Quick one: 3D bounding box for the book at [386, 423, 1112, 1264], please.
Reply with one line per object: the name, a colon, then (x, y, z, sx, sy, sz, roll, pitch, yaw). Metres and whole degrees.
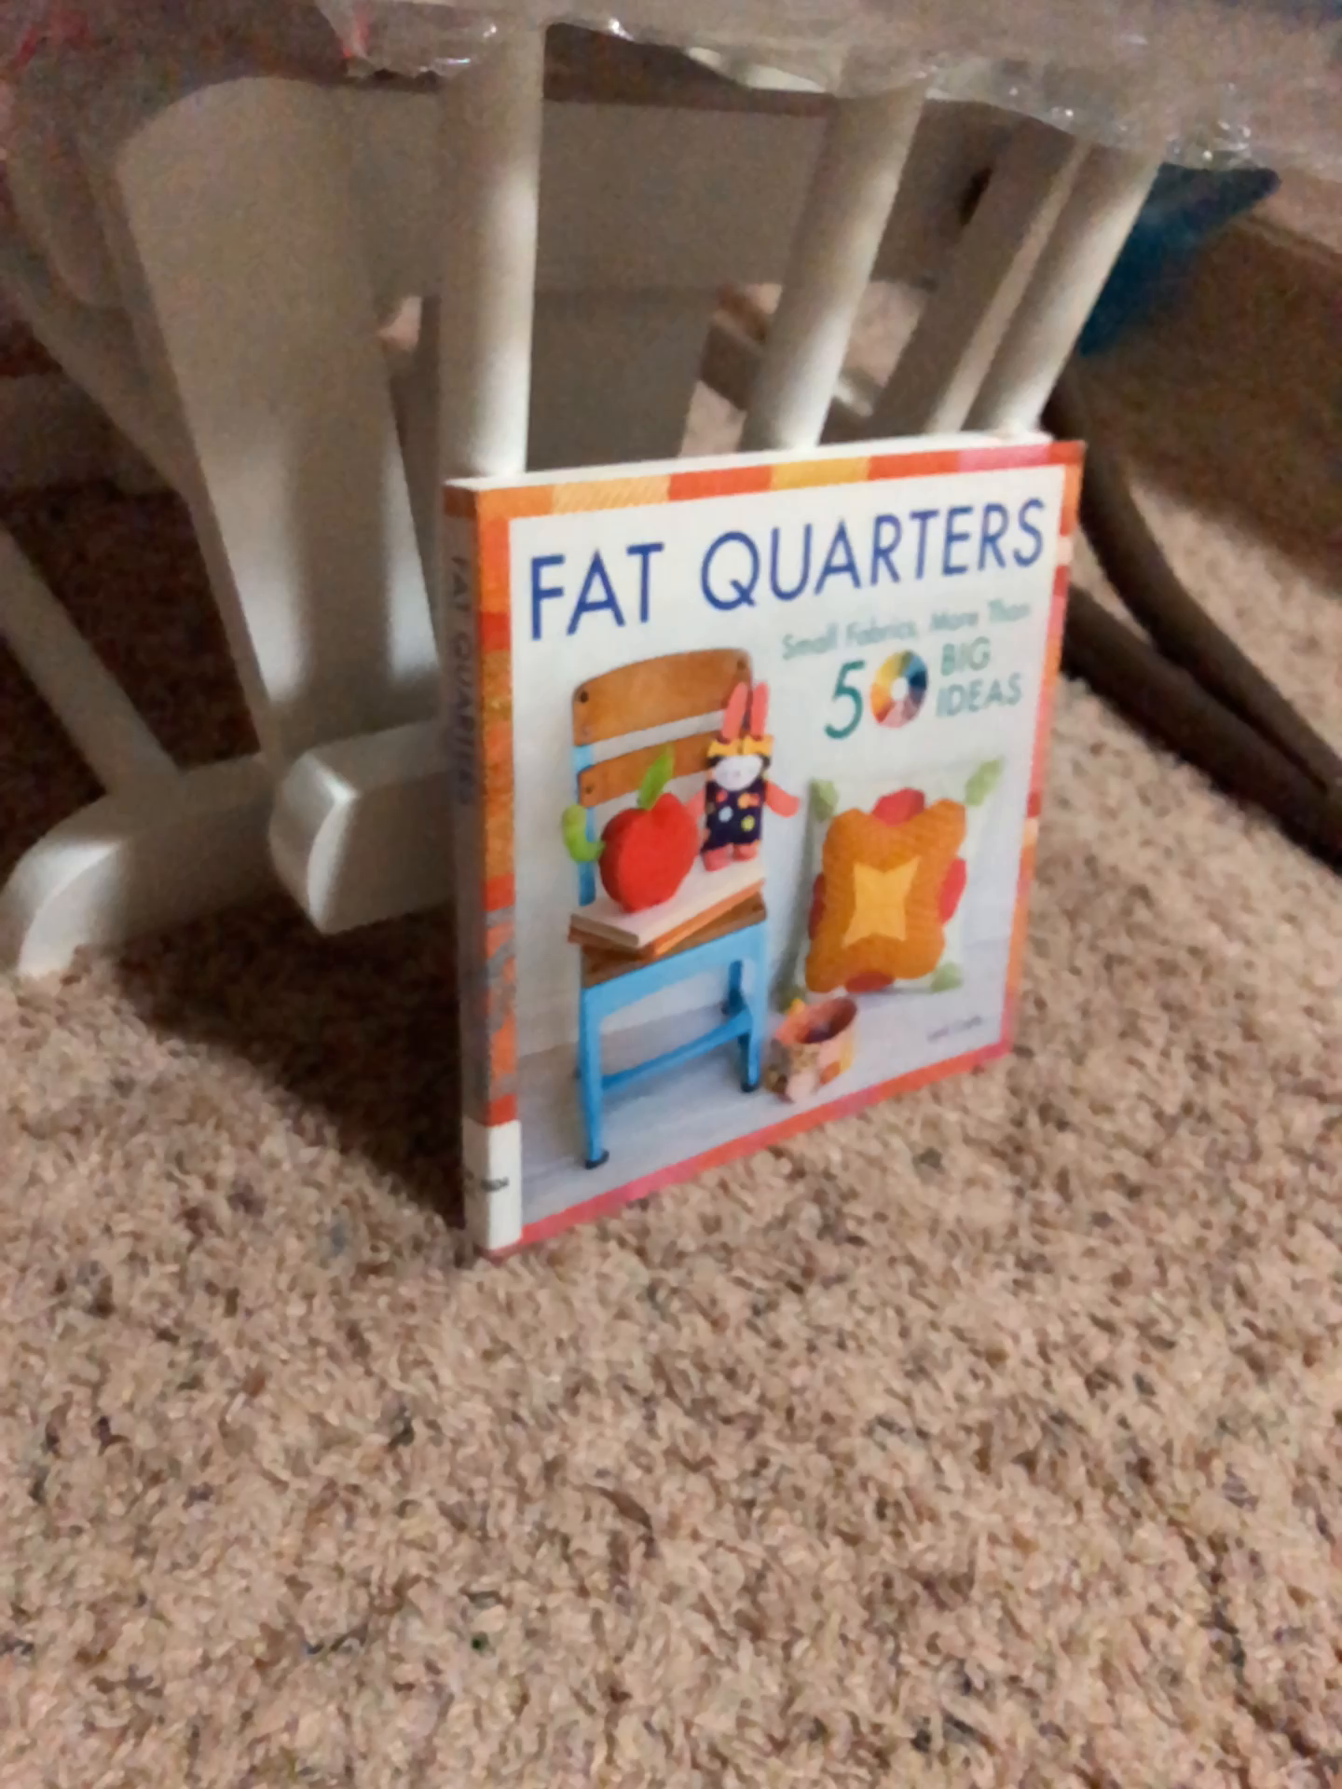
book: (0.030, -0.022, 0.413, 0.208, 0.193, 0.030, -15, 27, -32)
